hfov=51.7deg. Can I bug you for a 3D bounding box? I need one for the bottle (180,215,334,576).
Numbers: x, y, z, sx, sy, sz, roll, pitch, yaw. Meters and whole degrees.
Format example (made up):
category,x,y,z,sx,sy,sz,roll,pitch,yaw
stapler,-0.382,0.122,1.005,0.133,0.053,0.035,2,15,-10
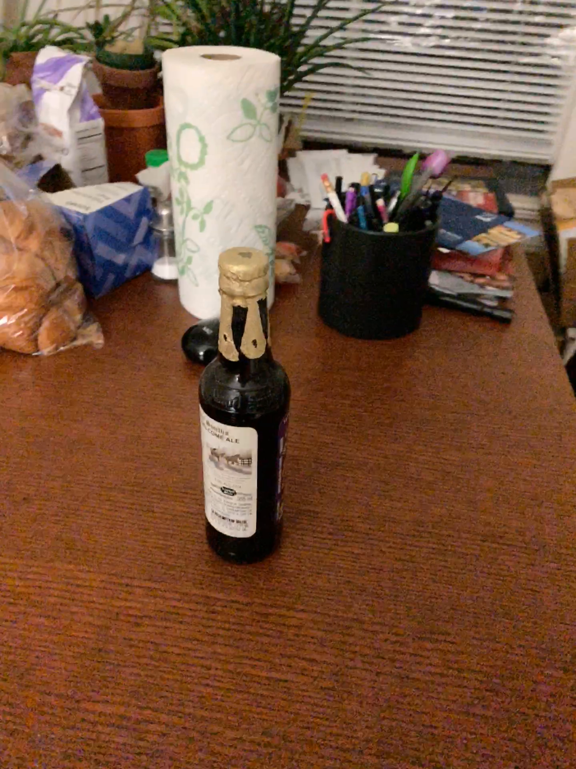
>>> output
category,x,y,z,sx,sy,sz,roll,pitch,yaw
bottle,-0.024,0.017,0.380,0.070,0.229,0.070,2,36,-1
